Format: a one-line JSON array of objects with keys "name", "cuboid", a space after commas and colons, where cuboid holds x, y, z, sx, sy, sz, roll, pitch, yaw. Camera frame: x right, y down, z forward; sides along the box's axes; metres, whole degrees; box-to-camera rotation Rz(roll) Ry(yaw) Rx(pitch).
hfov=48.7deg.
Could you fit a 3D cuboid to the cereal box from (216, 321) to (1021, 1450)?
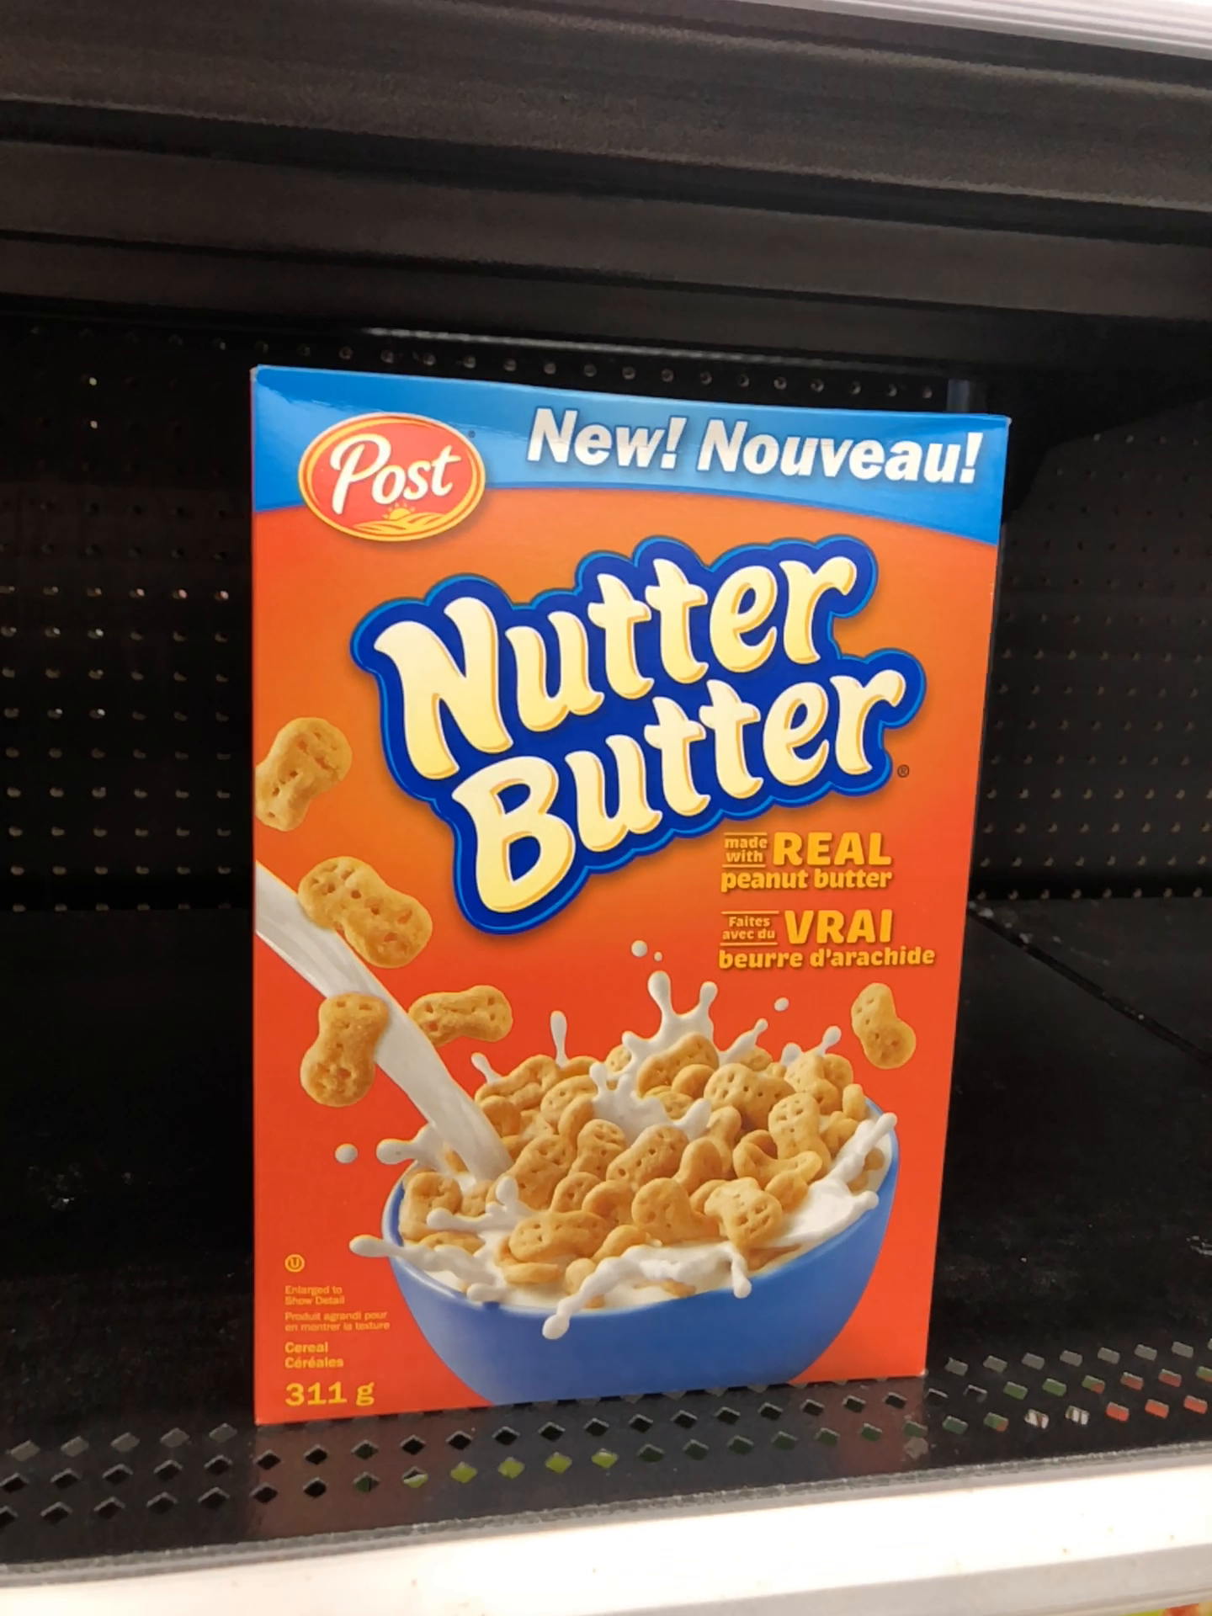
[{"name": "cereal box", "cuboid": [-0.003, 0.023, 0.366, 0.190, 0.279, 0.060, 0, 11, -10]}]
